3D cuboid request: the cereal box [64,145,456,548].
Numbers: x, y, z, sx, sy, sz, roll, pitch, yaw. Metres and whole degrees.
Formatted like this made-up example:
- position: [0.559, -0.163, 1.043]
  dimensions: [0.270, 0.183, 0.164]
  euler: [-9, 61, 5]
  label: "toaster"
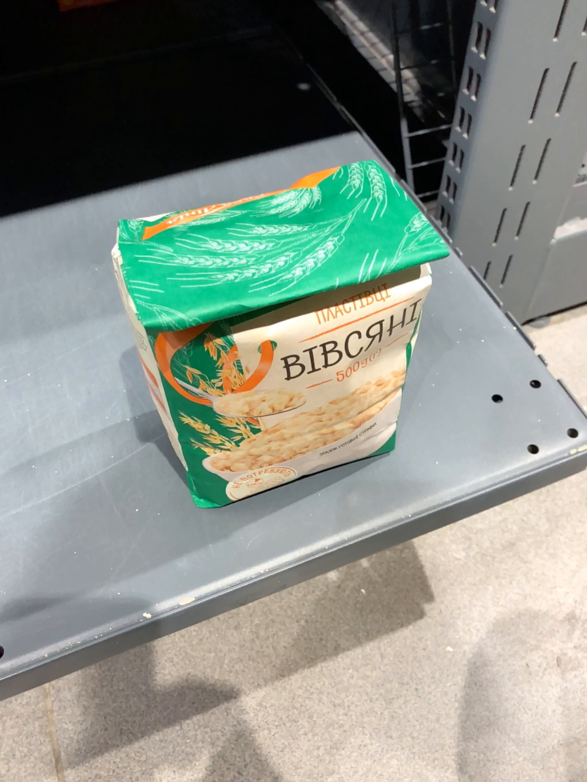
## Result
- position: [-0.013, -0.012, 0.285]
  dimensions: [0.120, 0.139, 0.070]
  euler: [-19, 55, -13]
  label: "cereal box"
